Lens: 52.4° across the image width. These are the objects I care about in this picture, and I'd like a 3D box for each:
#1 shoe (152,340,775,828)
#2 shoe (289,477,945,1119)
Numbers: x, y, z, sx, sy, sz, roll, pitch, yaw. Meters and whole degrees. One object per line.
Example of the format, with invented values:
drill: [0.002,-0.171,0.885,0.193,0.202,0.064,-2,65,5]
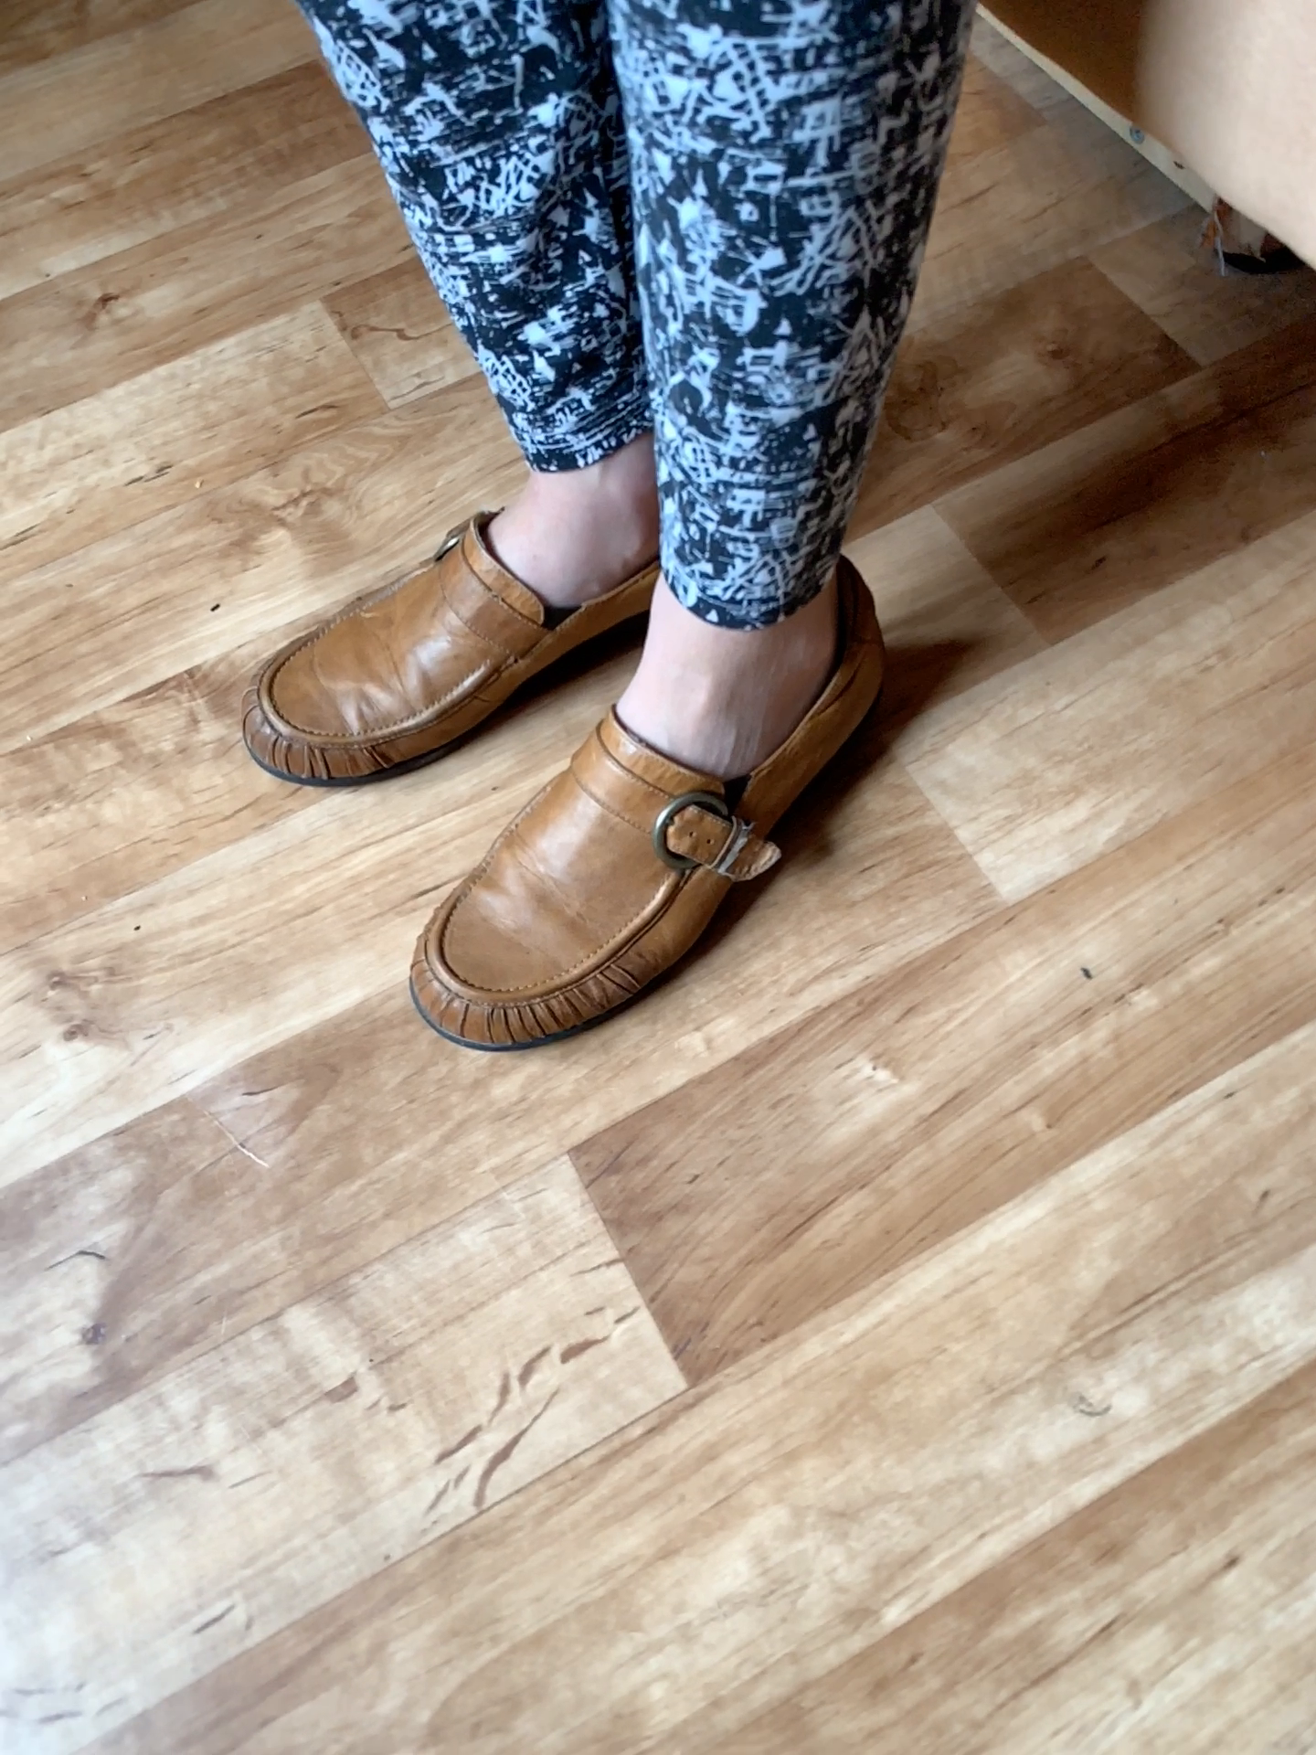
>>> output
shoe: [-0.063,-0.103,0.469,0.190,0.070,0.081,-23,64,-7]
shoe: [-0.007,-0.027,0.423,0.190,0.070,0.080,-42,68,-16]
